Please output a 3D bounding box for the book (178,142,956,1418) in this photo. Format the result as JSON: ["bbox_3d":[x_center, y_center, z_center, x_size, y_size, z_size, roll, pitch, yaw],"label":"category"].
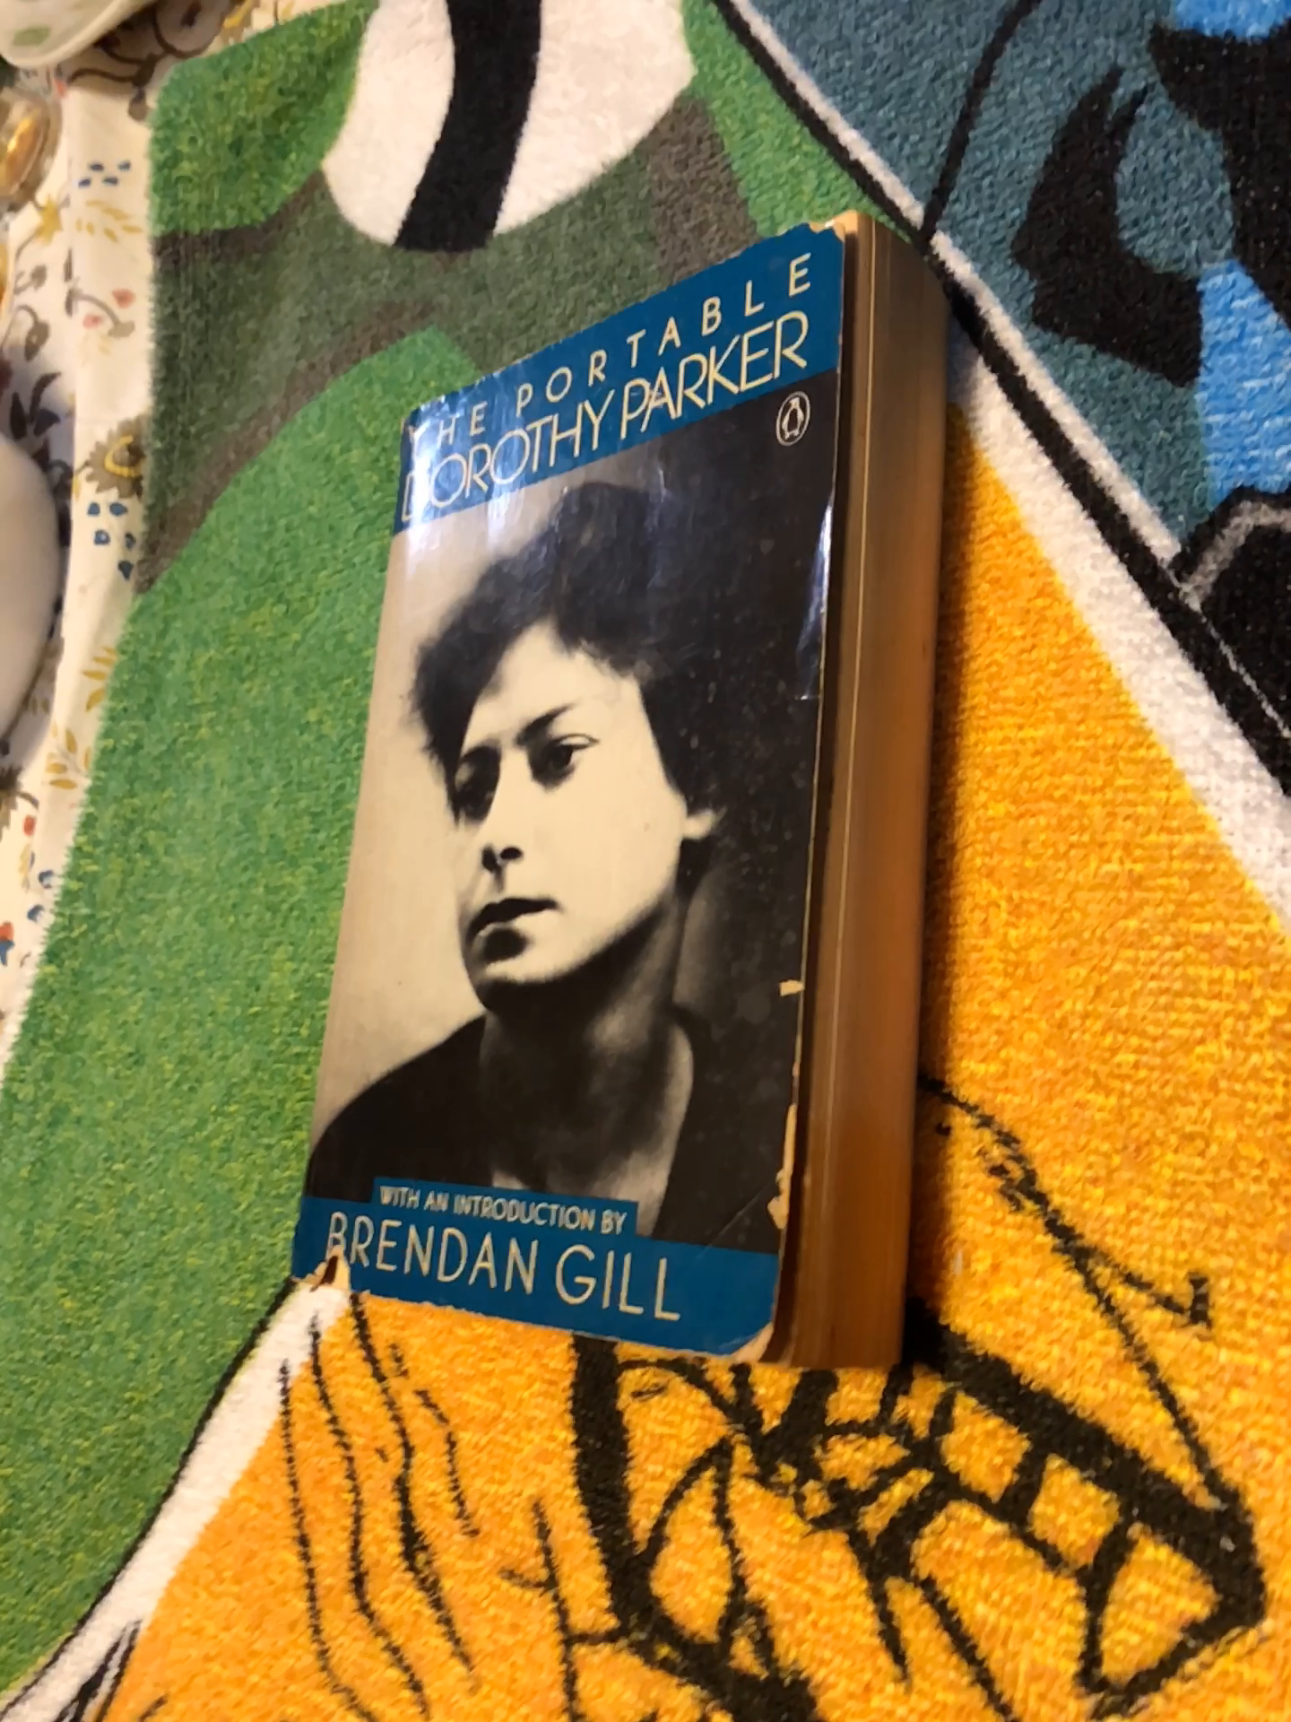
[{"bbox_3d":[-0.017,-0.012,0.276,0.141,0.040,0.200,-6,73,39],"label":"book"}]
